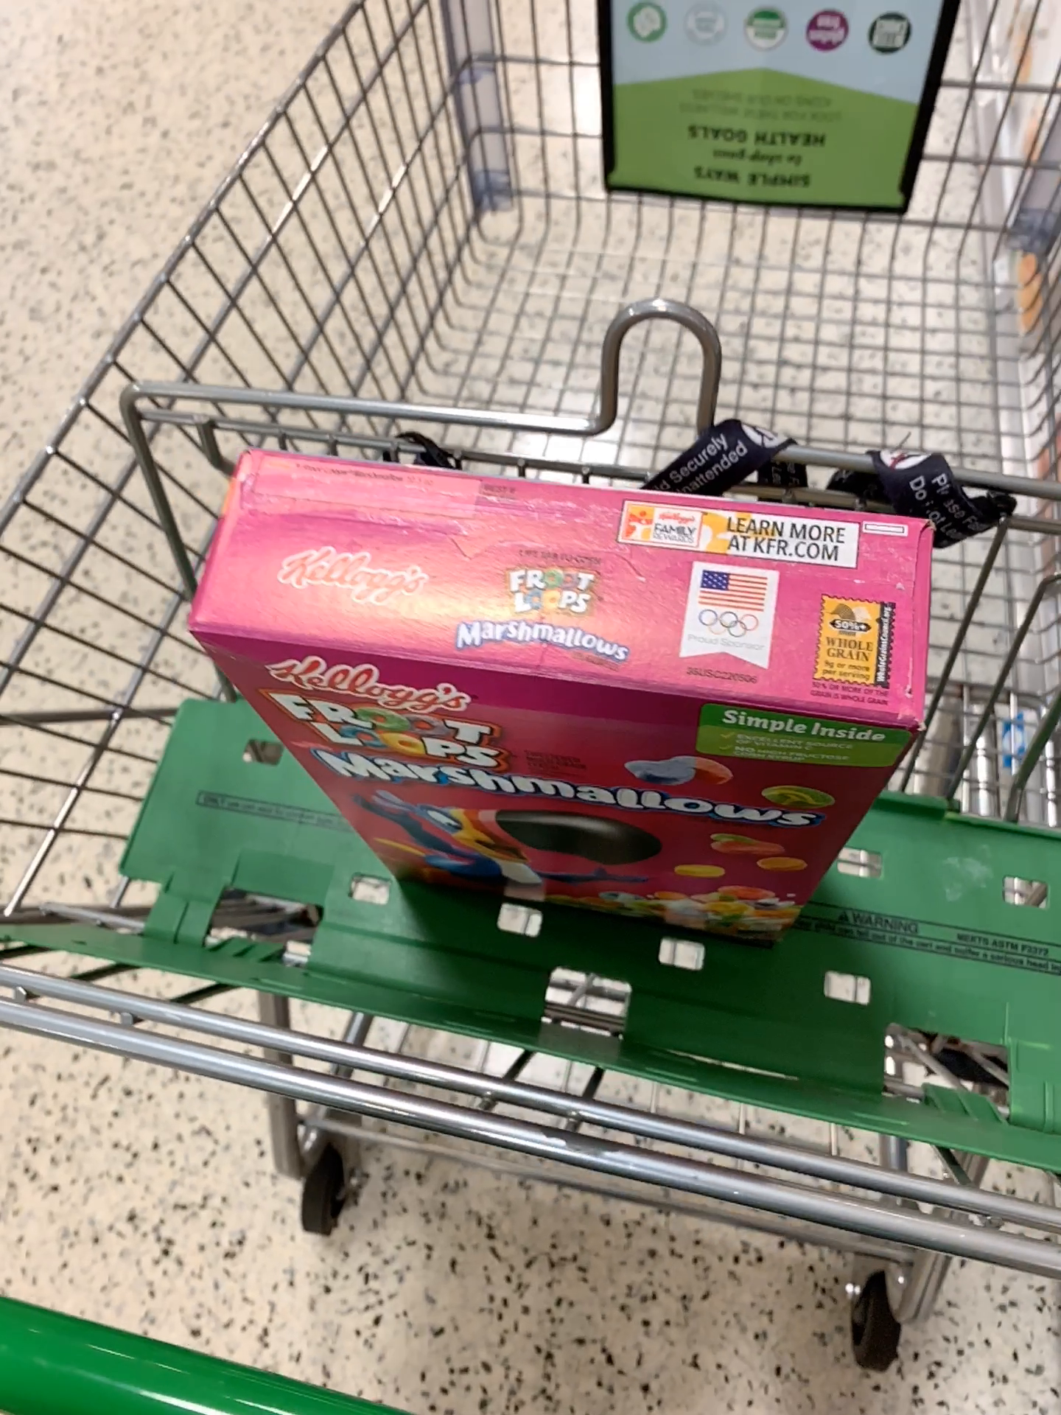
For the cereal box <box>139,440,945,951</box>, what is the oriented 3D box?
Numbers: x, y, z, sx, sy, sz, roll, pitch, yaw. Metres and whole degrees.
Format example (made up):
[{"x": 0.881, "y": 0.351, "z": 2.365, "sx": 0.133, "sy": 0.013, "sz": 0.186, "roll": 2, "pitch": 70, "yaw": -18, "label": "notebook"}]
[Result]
[{"x": 0.015, "y": 0.020, "z": 0.415, "sx": 0.200, "sy": 0.288, "sz": 0.060, "roll": 8, "pitch": 69, "yaw": 9, "label": "cereal box"}]
